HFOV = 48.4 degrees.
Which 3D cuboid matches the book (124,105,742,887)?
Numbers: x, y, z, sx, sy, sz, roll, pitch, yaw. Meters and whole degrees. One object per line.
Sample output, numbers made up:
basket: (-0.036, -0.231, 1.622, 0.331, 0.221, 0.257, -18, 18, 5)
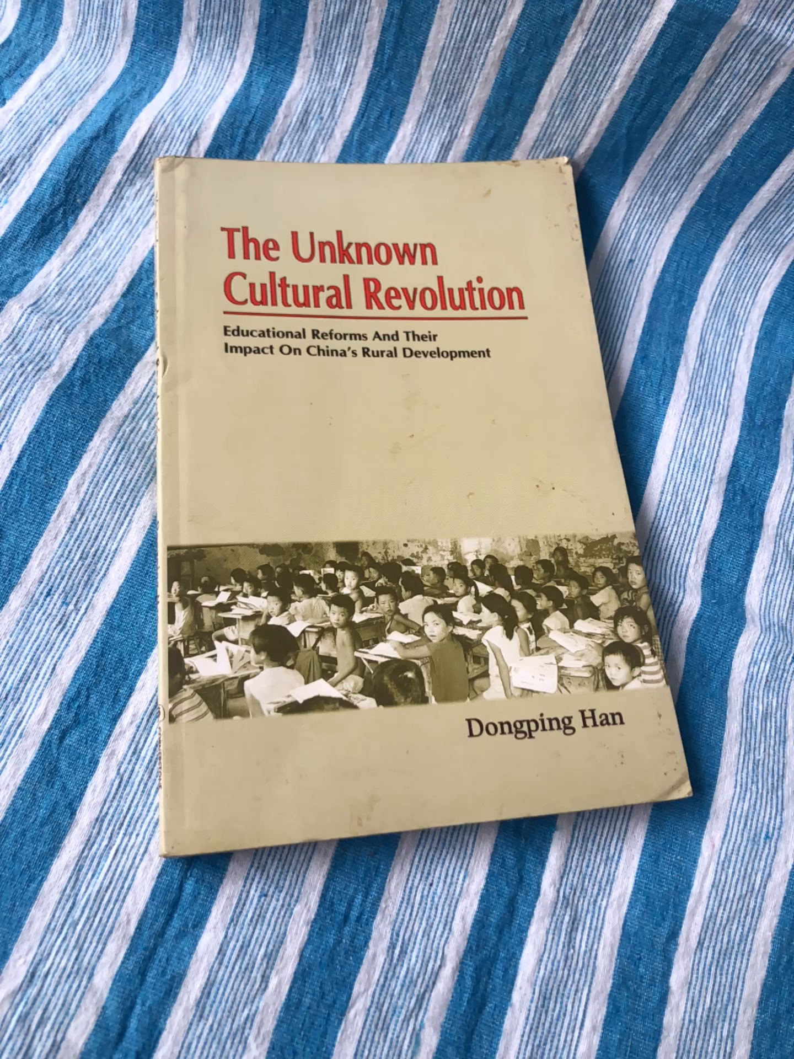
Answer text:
book: (-0.001, -0.029, 0.253, 0.140, 0.020, 0.230, -4, 67, -5)
